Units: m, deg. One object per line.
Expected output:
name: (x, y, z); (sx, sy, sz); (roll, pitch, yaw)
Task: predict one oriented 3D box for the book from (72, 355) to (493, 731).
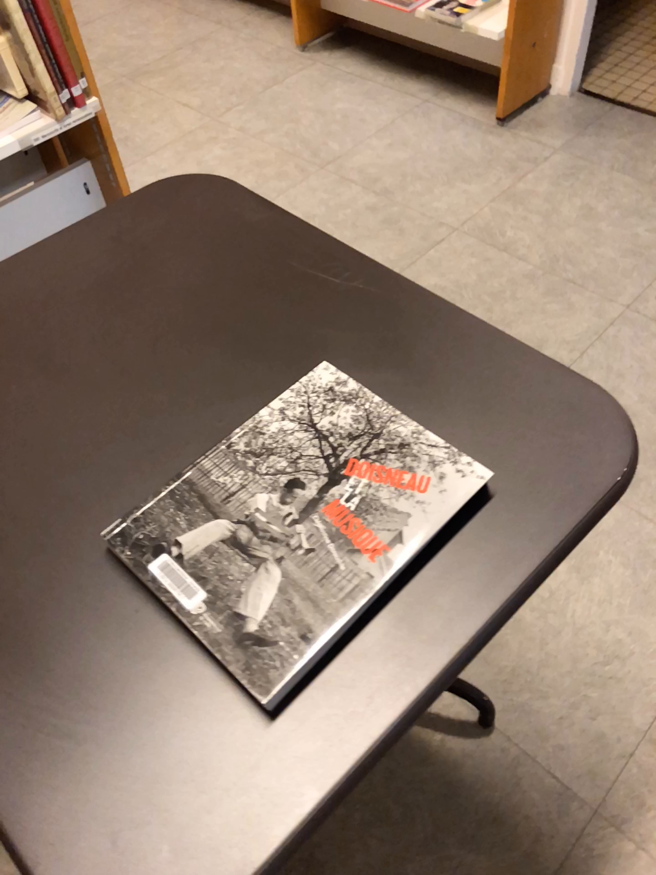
book: (-0.031, 0.057, 0.550); (0.194, 0.030, 0.251); (36, 60, 28)
